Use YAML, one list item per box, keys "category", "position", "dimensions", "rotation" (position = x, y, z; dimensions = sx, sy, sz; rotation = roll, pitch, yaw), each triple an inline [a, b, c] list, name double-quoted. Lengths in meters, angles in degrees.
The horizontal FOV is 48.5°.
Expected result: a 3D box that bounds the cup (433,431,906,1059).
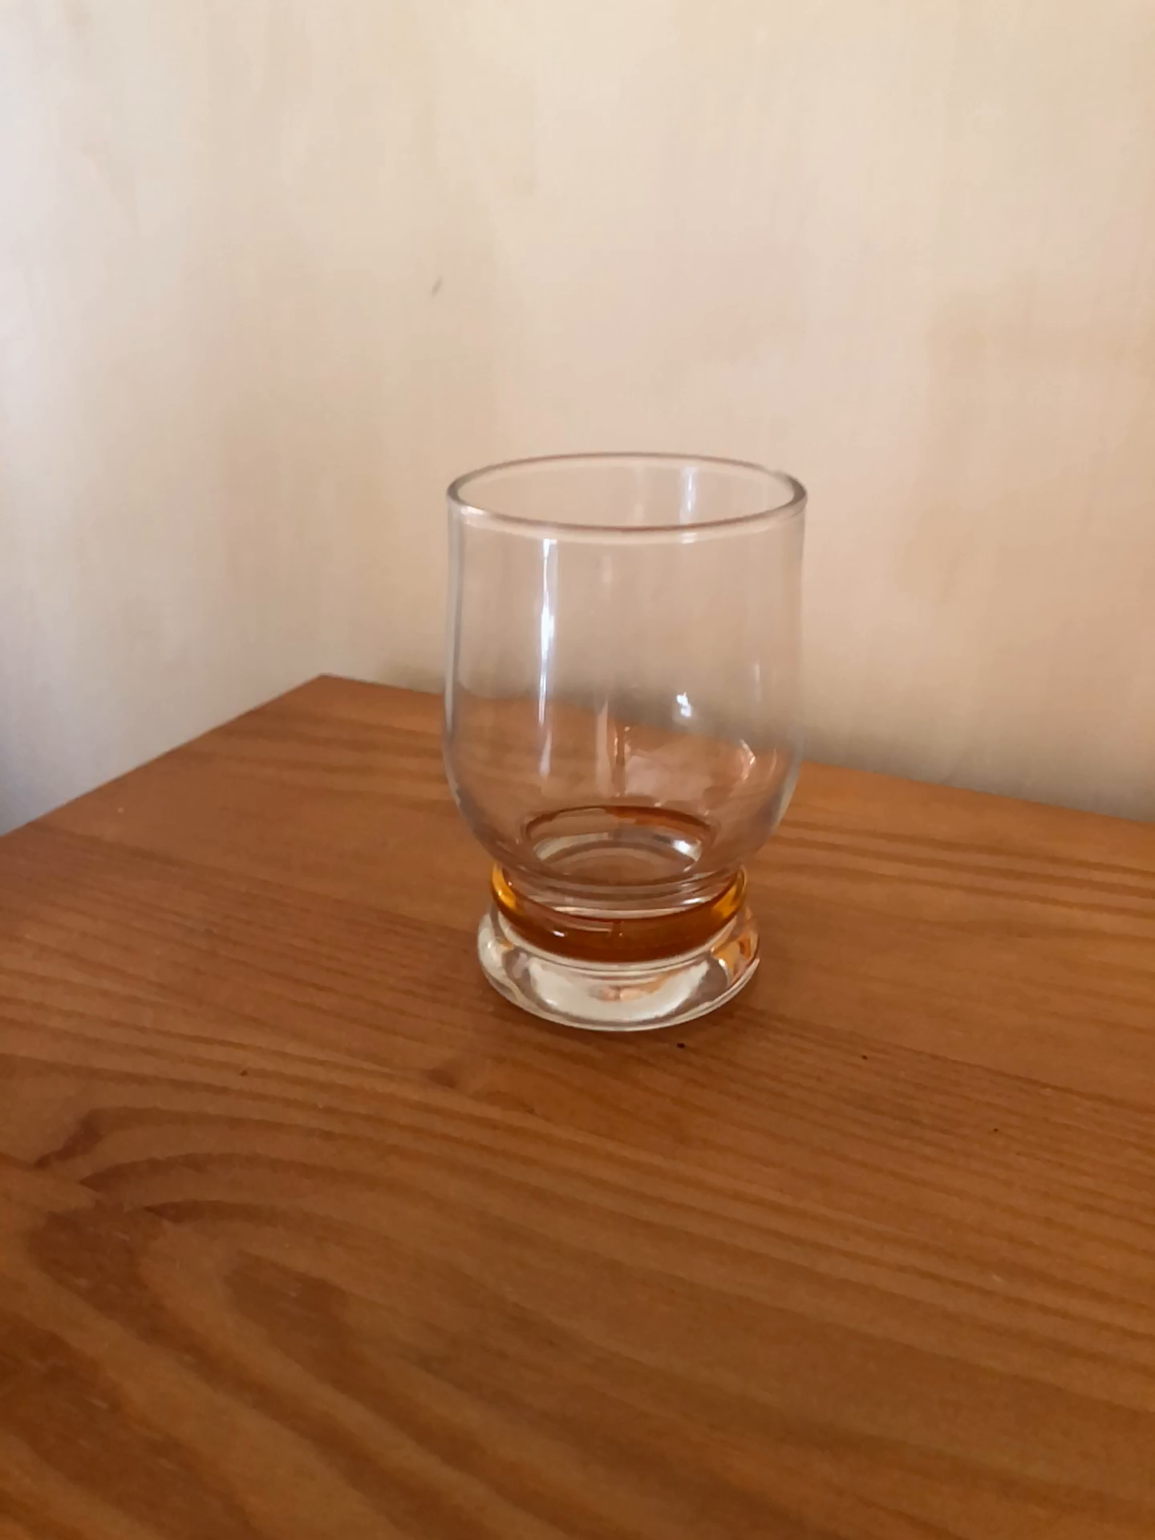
- category: "cup"
  position: [0.015, -0.009, 0.254]
  dimensions: [0.073, 0.099, 0.076]
  rotation: [1, 24, 0]
